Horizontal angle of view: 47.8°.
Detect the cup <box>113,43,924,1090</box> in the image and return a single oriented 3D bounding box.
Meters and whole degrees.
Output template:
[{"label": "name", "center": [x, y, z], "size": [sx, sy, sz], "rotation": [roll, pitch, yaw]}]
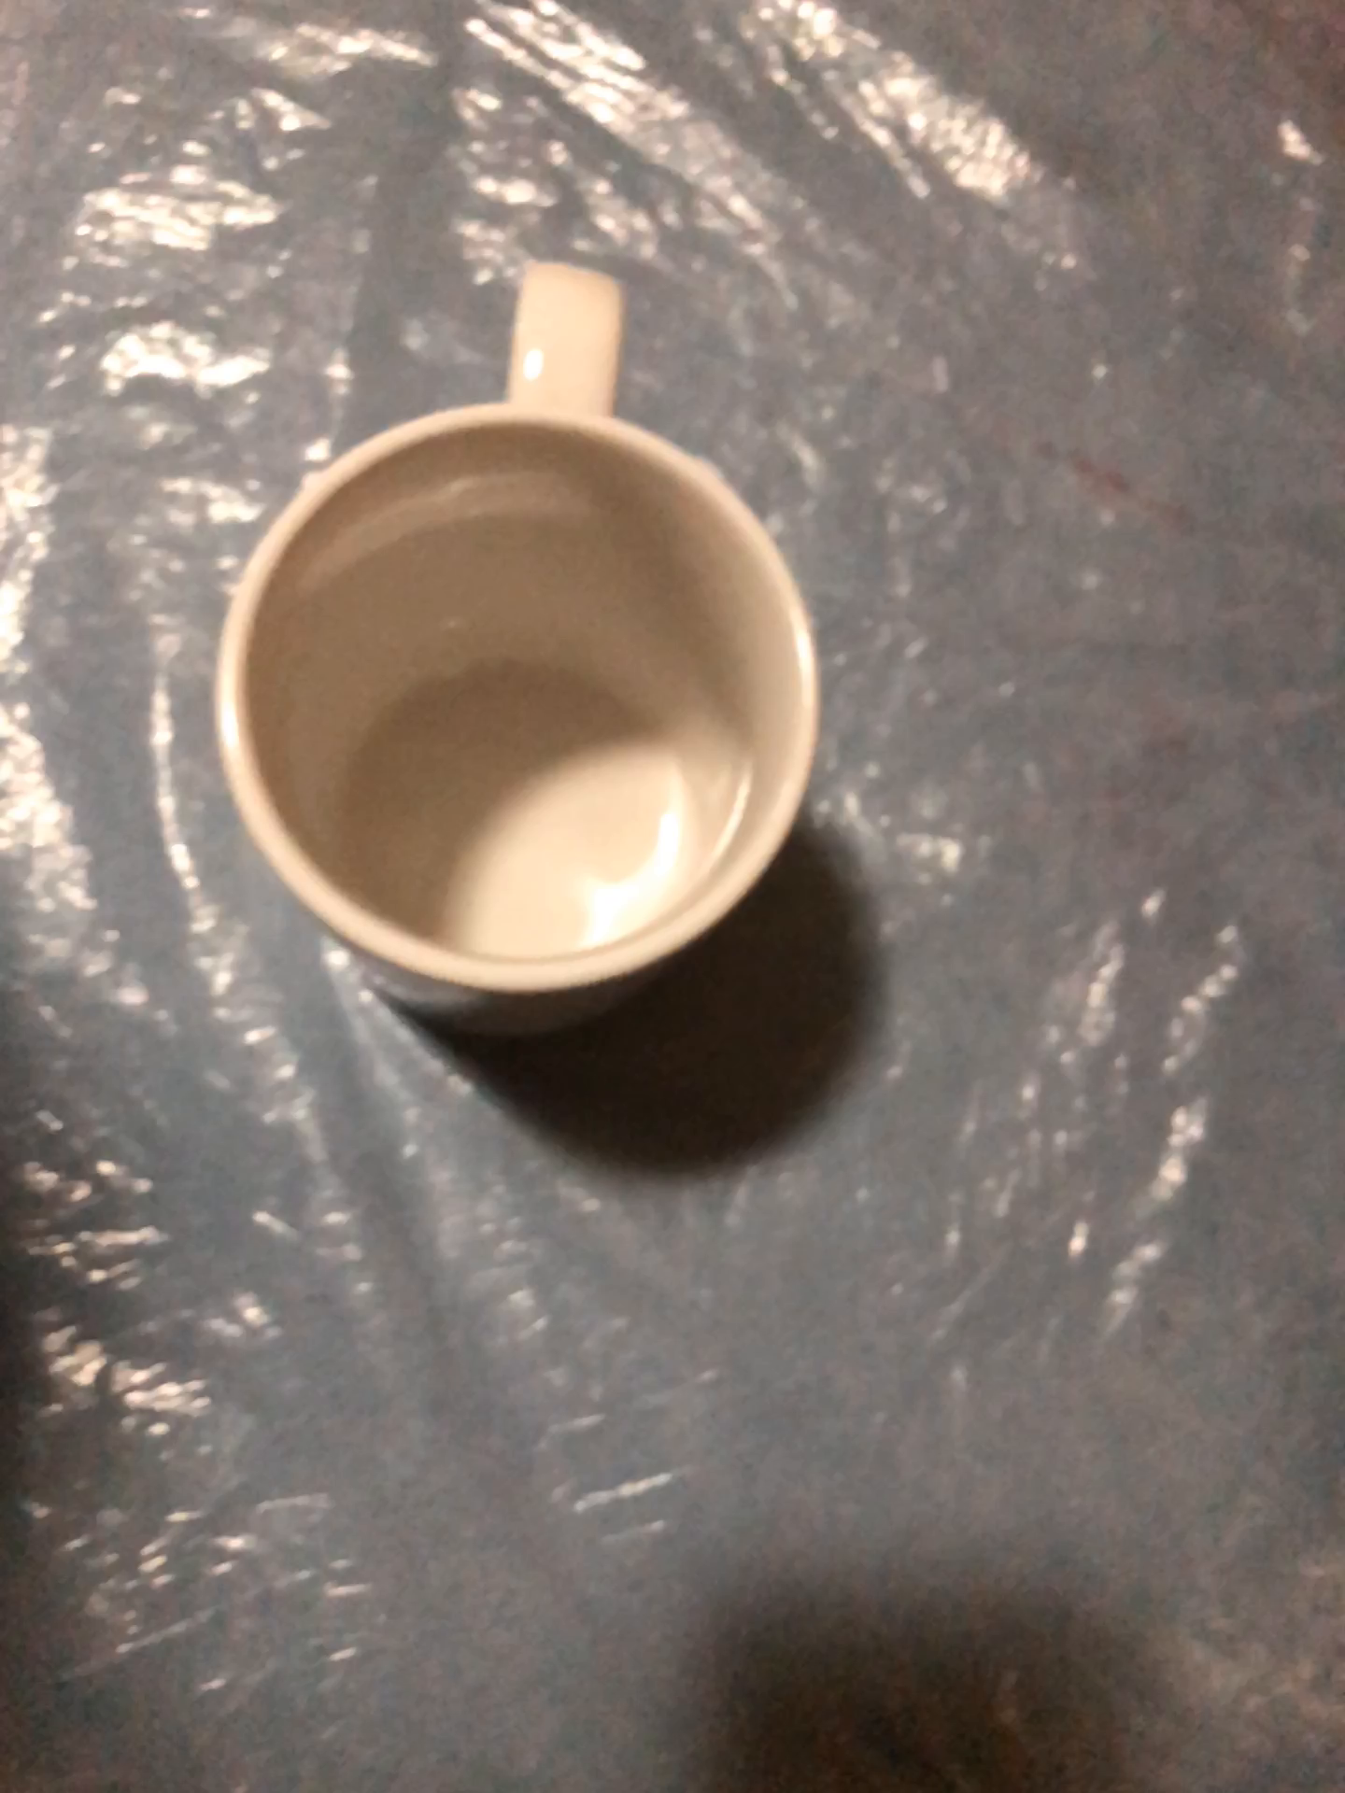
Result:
[{"label": "cup", "center": [-0.026, -0.043, 0.274], "size": [0.100, 0.110, 0.140], "rotation": [8, 80, -8]}]
